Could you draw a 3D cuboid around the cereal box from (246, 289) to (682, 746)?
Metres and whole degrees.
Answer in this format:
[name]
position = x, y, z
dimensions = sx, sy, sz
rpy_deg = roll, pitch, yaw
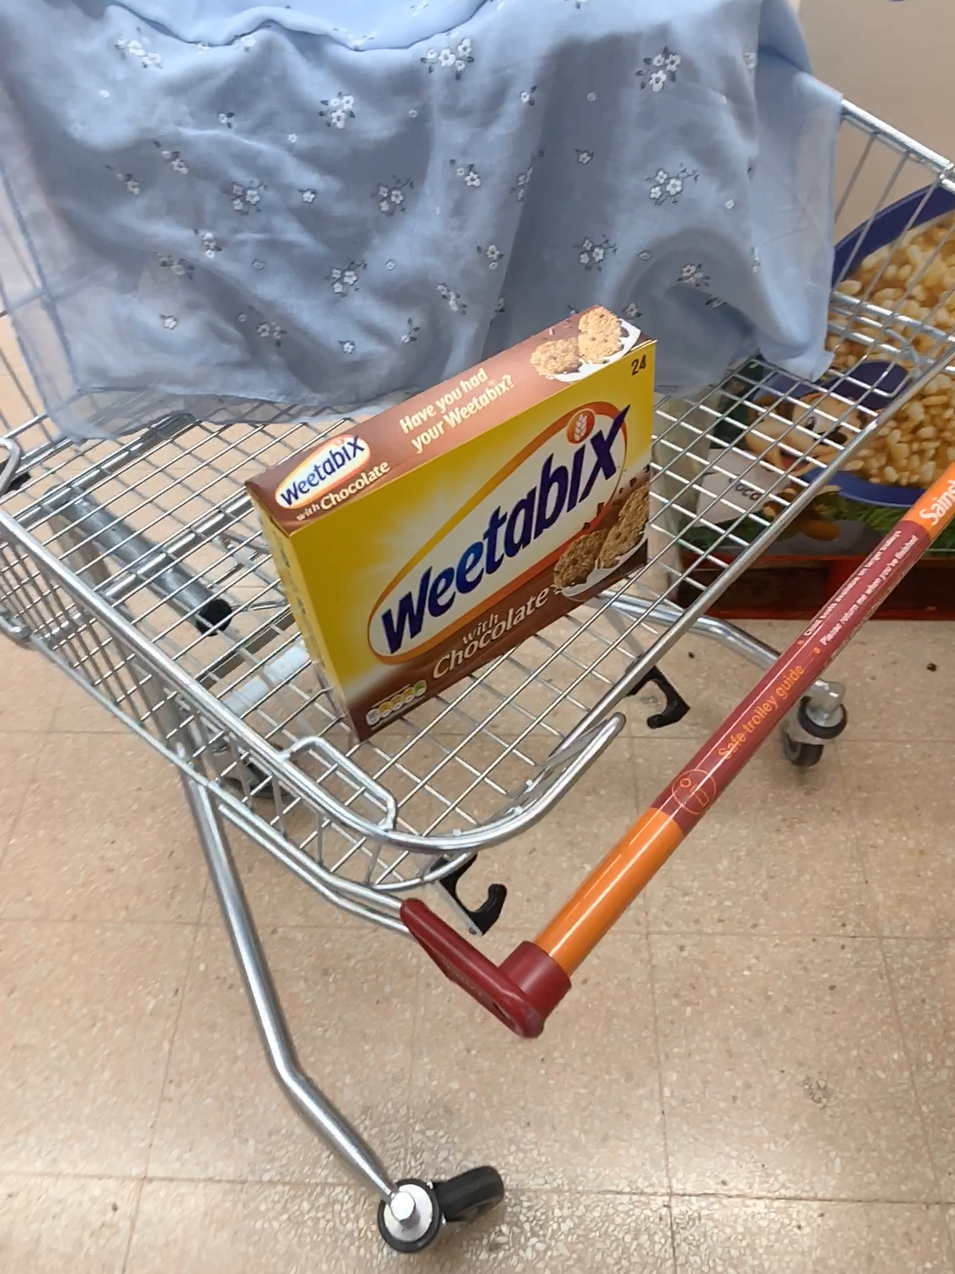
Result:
[cereal box]
position = 0.004, -0.071, 0.600
dimensions = 0.251, 0.188, 0.060
rpy_deg = -31, 54, -21
